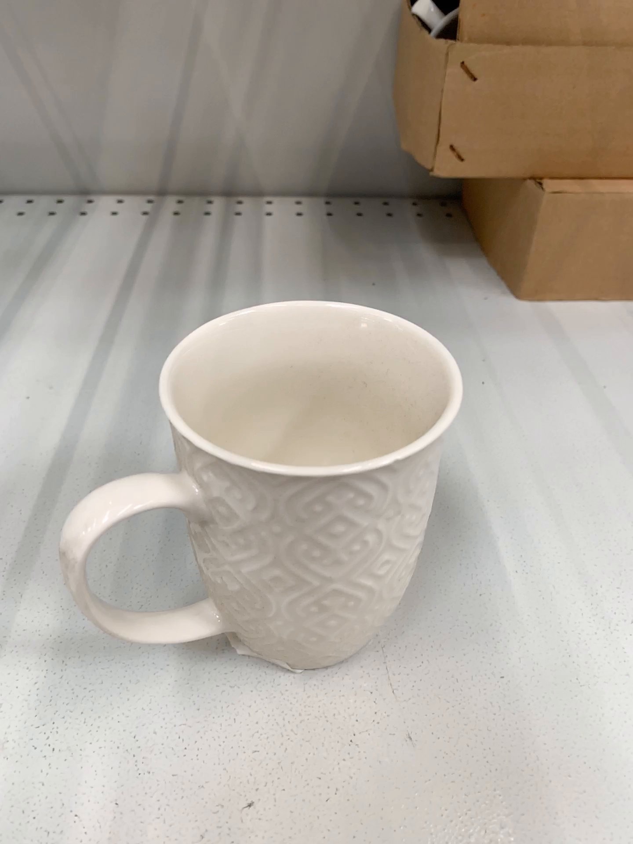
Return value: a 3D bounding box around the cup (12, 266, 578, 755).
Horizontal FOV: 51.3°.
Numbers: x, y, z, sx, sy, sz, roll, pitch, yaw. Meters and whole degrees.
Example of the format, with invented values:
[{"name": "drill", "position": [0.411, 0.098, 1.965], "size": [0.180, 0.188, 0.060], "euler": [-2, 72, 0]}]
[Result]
[{"name": "cup", "position": [-0.012, 0.021, 0.213], "size": [0.131, 0.098, 0.092], "euler": [-9, 40, -14]}]
